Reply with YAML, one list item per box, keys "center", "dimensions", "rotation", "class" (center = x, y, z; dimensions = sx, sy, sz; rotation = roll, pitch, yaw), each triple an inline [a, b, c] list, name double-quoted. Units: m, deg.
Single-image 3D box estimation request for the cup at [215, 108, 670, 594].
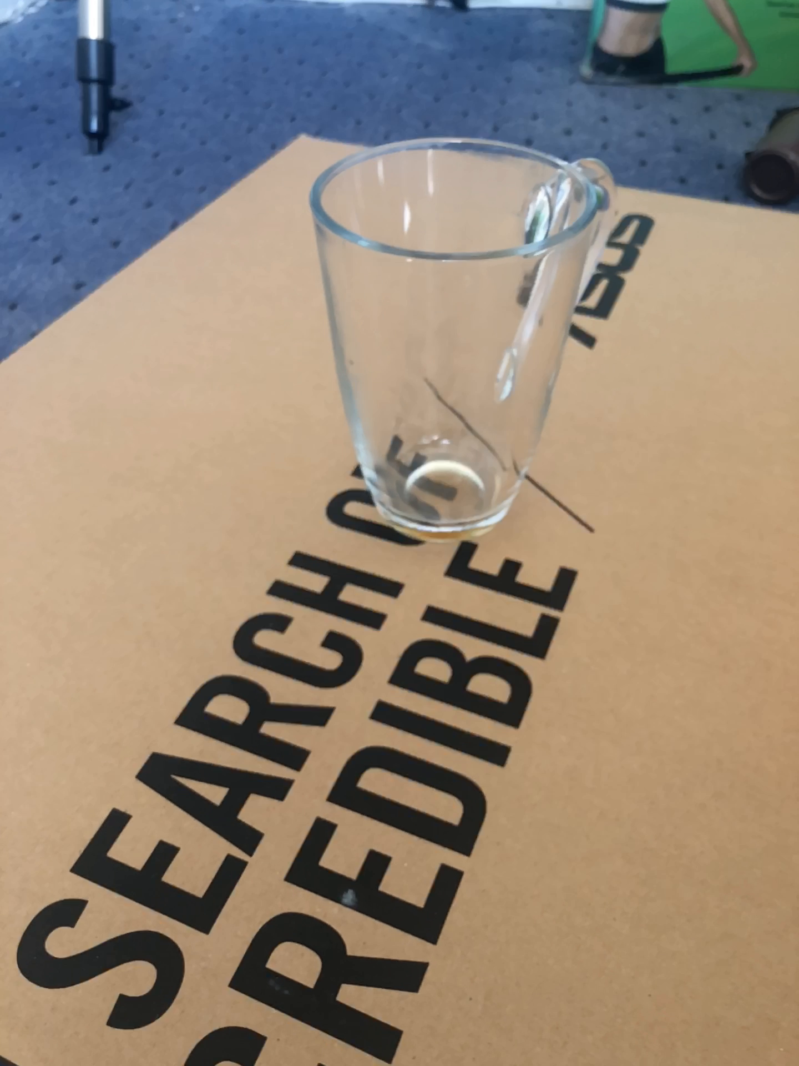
- center: [0.017, -0.062, 0.276]
  dimensions: [0.080, 0.090, 0.110]
  rotation: [22, 47, 24]
  class: "cup"
